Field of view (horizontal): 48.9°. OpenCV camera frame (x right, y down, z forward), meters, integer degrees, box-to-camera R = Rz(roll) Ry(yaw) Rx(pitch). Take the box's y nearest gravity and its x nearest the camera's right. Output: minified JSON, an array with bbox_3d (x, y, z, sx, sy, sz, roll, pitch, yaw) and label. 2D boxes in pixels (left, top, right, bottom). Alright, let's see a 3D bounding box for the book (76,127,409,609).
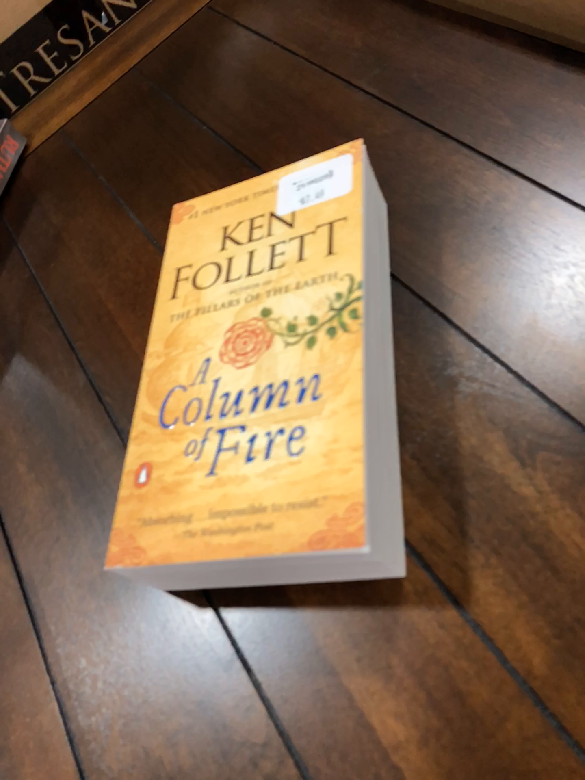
[{"bbox_3d":[-0.014,-0.014,0.273,0.110,0.040,0.195,-10,58,22],"label":"book"}]
